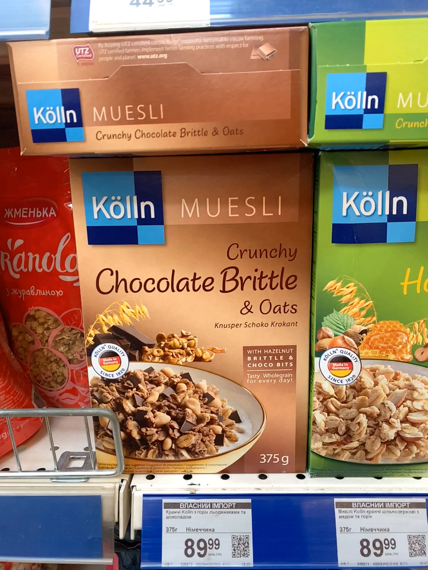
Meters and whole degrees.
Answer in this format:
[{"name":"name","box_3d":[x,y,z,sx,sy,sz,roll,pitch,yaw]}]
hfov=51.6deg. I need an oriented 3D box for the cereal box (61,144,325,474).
[{"name":"cereal box","box_3d":[-0.010,0.016,0.303,0.150,0.209,0.060,0,12,2]}]
